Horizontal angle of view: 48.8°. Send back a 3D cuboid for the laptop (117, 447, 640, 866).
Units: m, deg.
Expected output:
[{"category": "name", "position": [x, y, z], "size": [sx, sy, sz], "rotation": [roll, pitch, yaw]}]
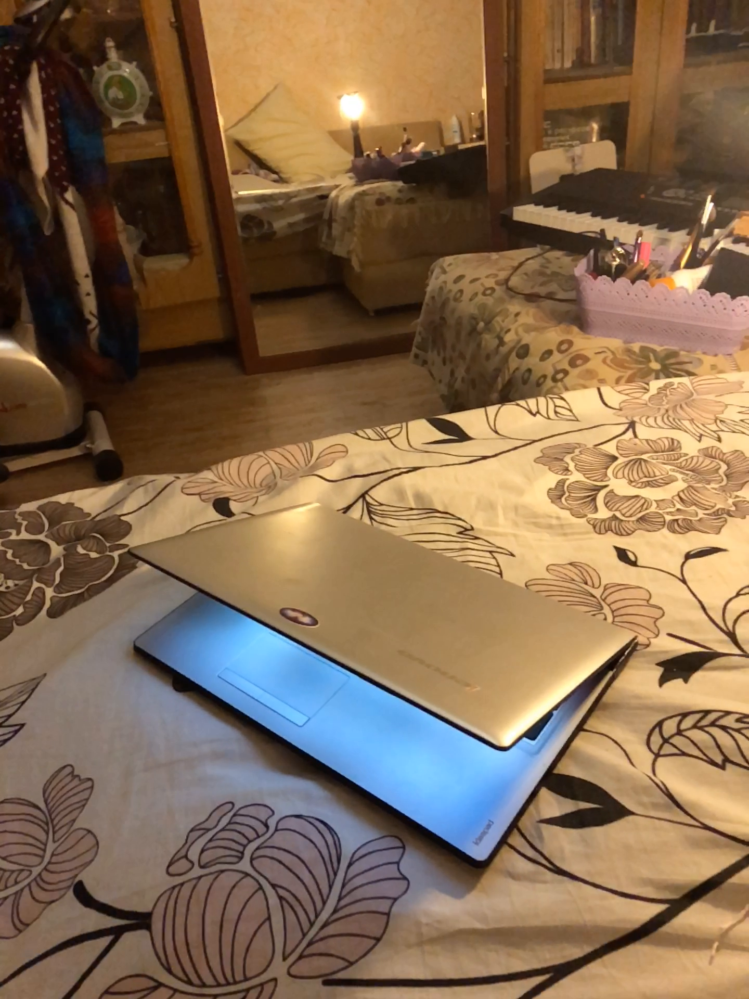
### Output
[{"category": "laptop", "position": [-0.001, 0.093, 0.721], "size": [0.381, 0.082, 0.257], "rotation": [20, 40, 34]}]
